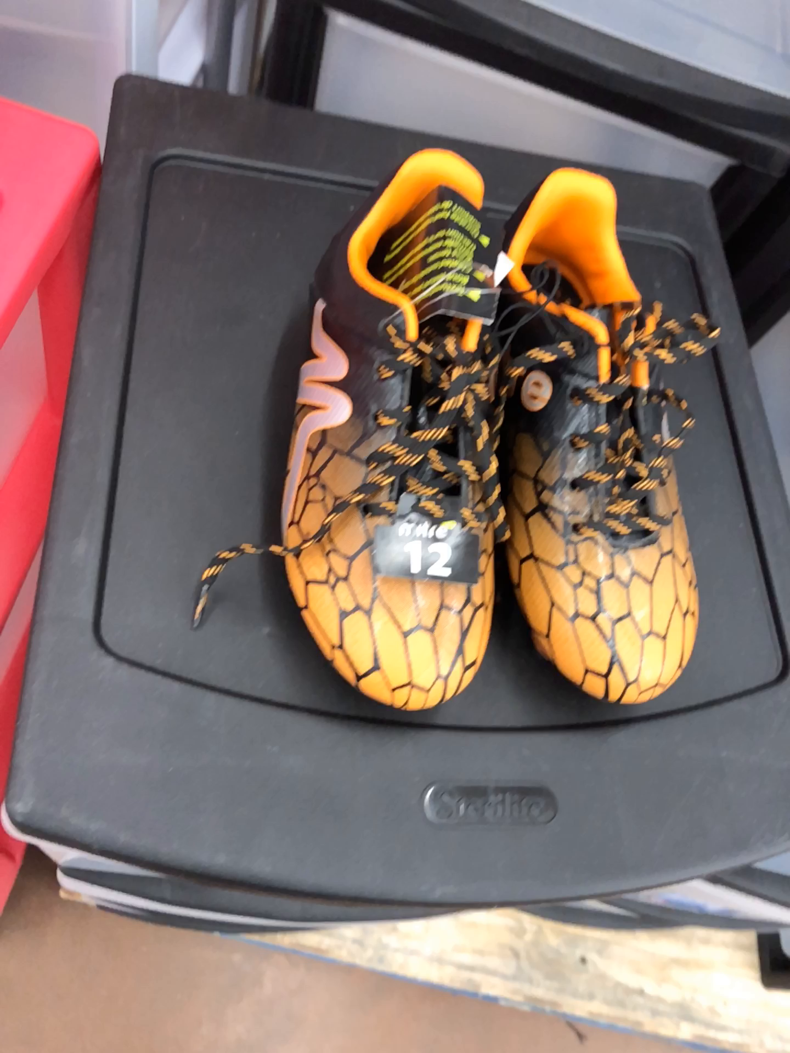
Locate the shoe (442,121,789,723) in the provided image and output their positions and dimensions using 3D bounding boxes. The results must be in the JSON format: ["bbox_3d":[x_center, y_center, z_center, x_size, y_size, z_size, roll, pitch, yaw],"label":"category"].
[{"bbox_3d":[0.077,-0.039,0.317,0.080,0.070,0.200,0,66,-15],"label":"shoe"}]

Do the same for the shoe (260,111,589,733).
[{"bbox_3d":[-0.002,-0.037,0.314,0.080,0.080,0.200,1,66,-15],"label":"shoe"}]
